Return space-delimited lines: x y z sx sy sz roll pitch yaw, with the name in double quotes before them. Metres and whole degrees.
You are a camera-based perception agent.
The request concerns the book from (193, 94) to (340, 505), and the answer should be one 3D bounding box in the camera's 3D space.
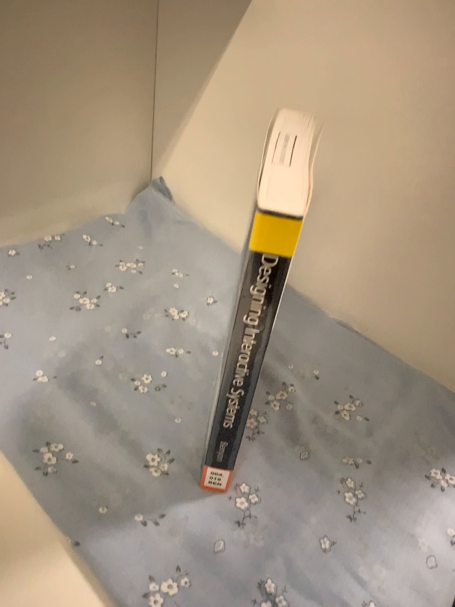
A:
"book" 0.029 -0.007 0.395 0.040 0.269 0.217 12 37 1
